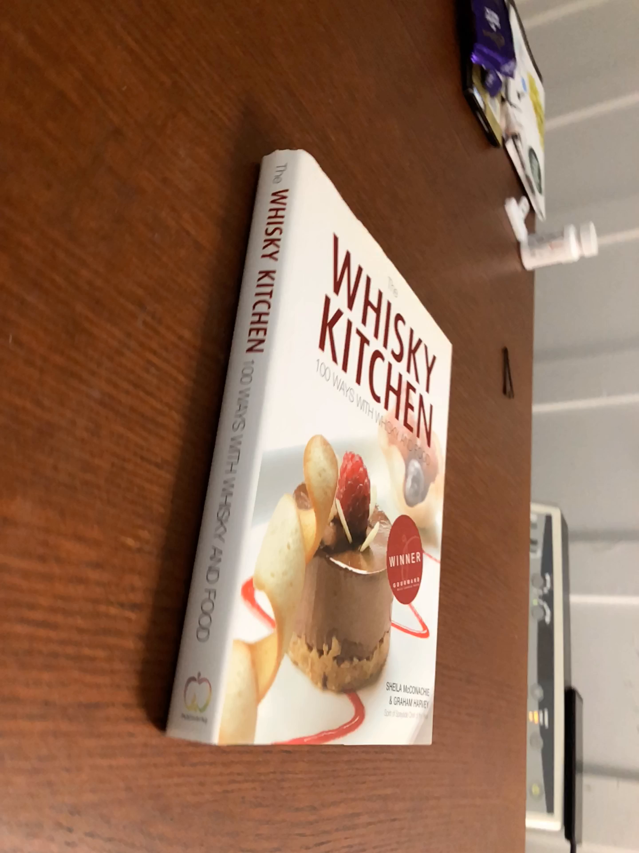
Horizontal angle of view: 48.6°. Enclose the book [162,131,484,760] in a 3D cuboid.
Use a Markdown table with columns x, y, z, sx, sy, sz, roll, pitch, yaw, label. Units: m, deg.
| x | y | z | sx | sy | sz | roll | pitch | yaw | label |
| --- | --- | --- | --- | --- | --- | --- | --- | --- | --- |
| 0.030 | 0.028 | 0.383 | 0.221 | 0.040 | 0.270 | 36 | 55 | -52 | book |
